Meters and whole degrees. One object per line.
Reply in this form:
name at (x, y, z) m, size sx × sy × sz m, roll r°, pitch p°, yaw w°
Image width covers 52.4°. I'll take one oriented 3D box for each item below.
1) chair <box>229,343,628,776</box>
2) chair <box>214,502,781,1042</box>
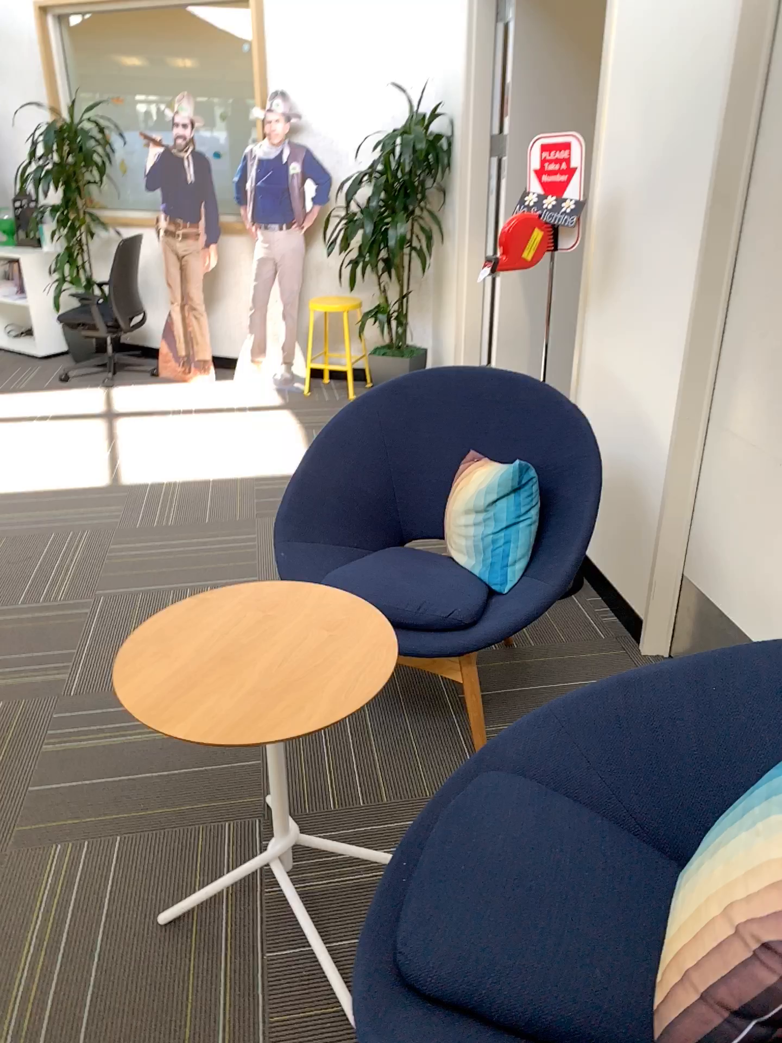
chair at (0.142, 0.021, 2.331) m, size 0.792 × 0.835 × 0.843 m, roll 13°, pitch 28°, yaw 26°
chair at (0.426, 0.653, 1.228) m, size 0.982 × 0.945 × 0.833 m, roll 15°, pitch 29°, yaw 28°
